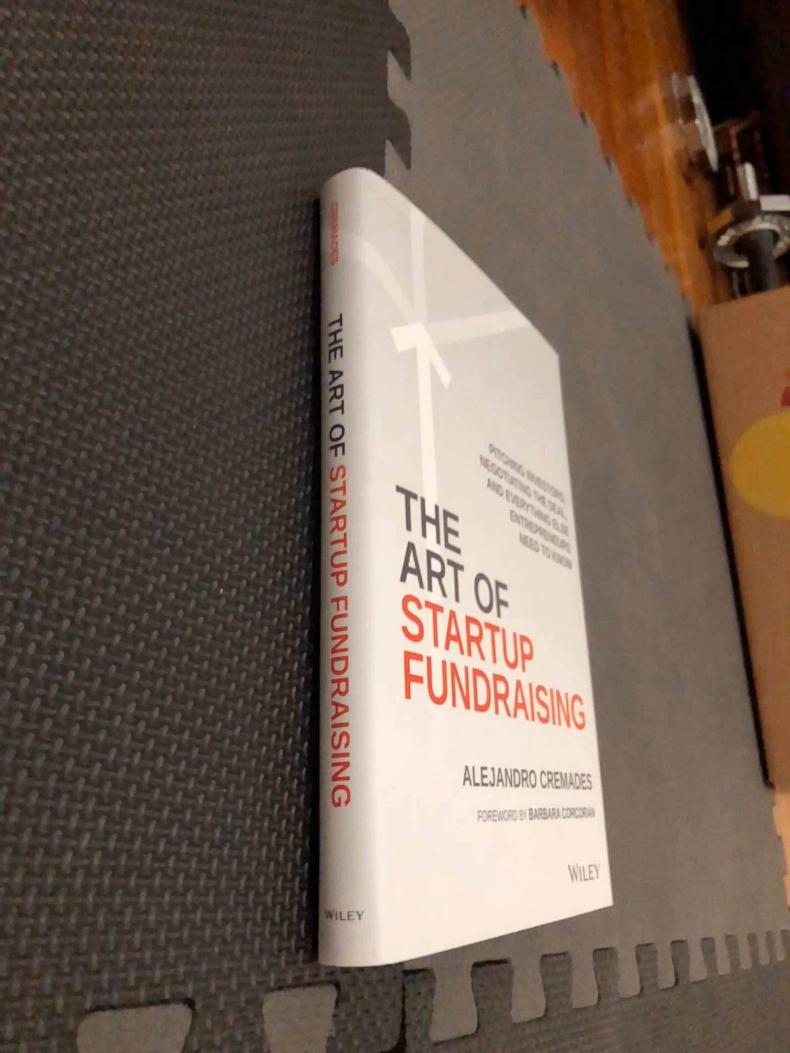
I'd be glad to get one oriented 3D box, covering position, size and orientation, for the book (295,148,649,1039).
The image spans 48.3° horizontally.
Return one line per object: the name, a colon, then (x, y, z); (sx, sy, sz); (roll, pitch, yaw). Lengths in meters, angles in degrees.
book: (0.032, 0.022, 0.313); (0.171, 0.030, 0.250); (27, 55, -52)
